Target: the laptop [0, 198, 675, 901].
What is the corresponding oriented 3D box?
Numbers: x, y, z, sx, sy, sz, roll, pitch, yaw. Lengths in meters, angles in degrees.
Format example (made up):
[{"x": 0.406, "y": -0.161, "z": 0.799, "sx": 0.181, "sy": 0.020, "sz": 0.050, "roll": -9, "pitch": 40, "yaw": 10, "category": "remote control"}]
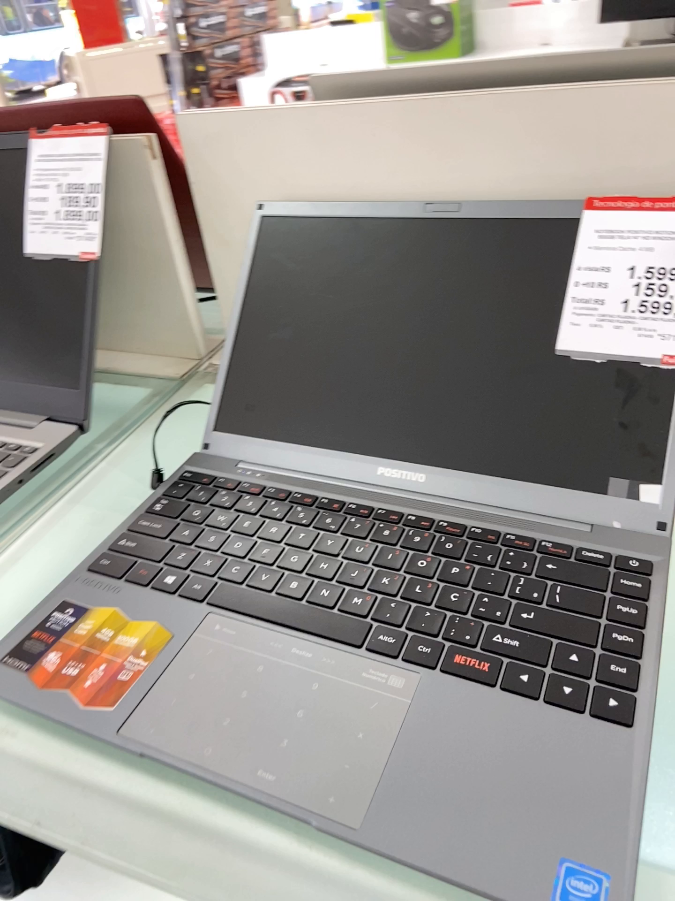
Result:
[{"x": 0.017, "y": -0.014, "z": 0.396, "sx": 0.333, "sy": 0.144, "sz": 0.368, "roll": 9, "pitch": 38, "yaw": 24, "category": "laptop"}]
